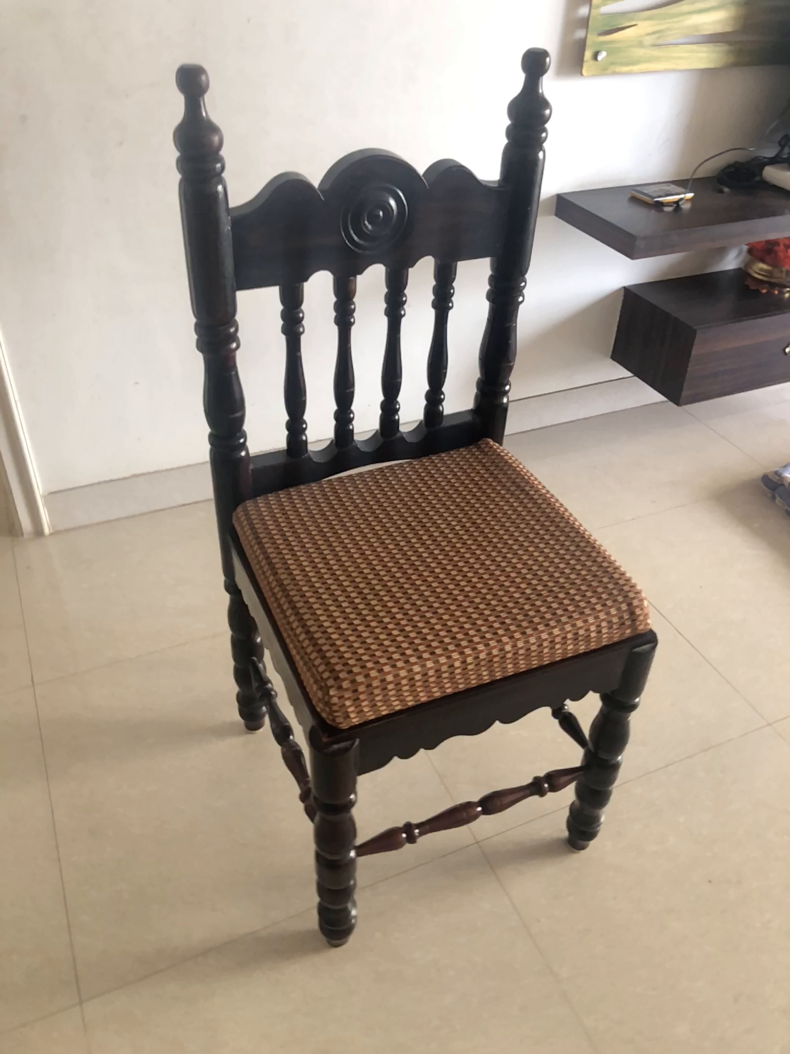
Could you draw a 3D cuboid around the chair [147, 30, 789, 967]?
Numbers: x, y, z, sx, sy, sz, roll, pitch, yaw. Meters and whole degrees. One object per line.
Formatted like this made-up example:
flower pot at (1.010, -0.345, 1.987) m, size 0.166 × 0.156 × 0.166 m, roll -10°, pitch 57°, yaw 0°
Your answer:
chair at (0.046, -0.029, 1.153) m, size 0.501 × 1.022 × 0.564 m, roll -13°, pitch 39°, yaw -19°
